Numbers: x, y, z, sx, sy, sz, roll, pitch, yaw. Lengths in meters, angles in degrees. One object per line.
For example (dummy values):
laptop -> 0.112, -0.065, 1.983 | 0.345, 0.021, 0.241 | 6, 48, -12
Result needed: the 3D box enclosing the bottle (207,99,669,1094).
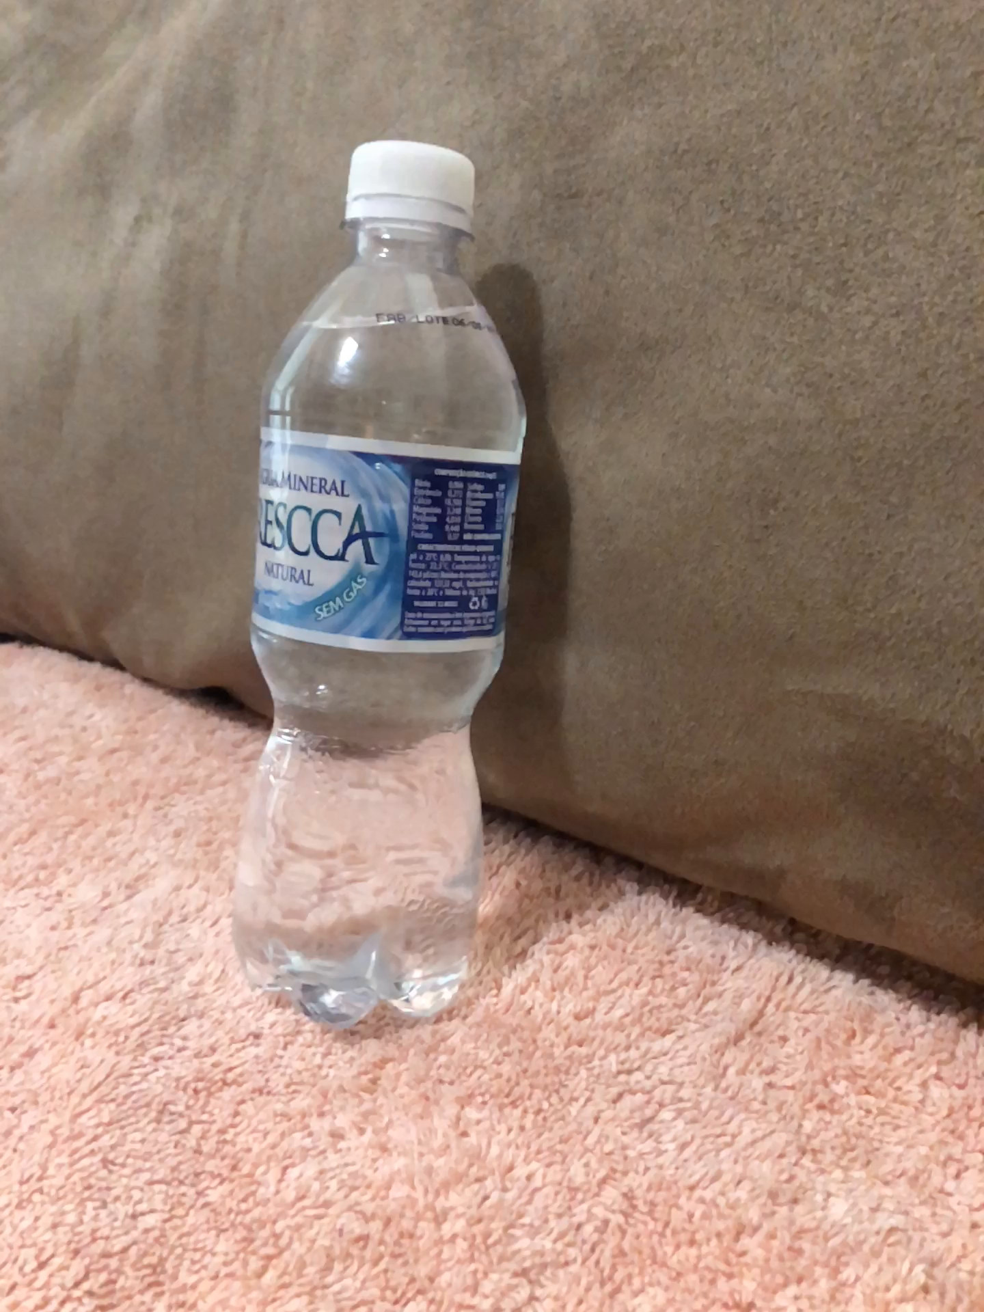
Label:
bottle -> -0.018, -0.014, 0.280 | 0.080, 0.209, 0.070 | -7, 15, -43
